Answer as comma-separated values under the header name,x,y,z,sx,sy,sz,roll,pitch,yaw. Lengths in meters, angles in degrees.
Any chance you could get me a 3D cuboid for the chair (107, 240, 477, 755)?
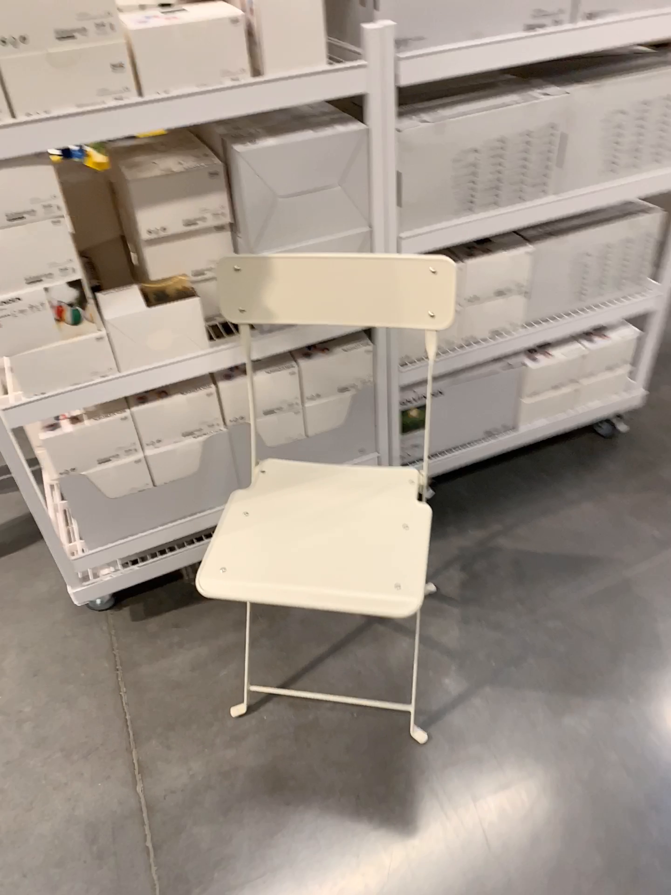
name,x,y,z,sx,sy,sz,roll,pitch,yaw
chair,0.002,0.102,1.220,0.437,0.783,0.459,3,40,10
